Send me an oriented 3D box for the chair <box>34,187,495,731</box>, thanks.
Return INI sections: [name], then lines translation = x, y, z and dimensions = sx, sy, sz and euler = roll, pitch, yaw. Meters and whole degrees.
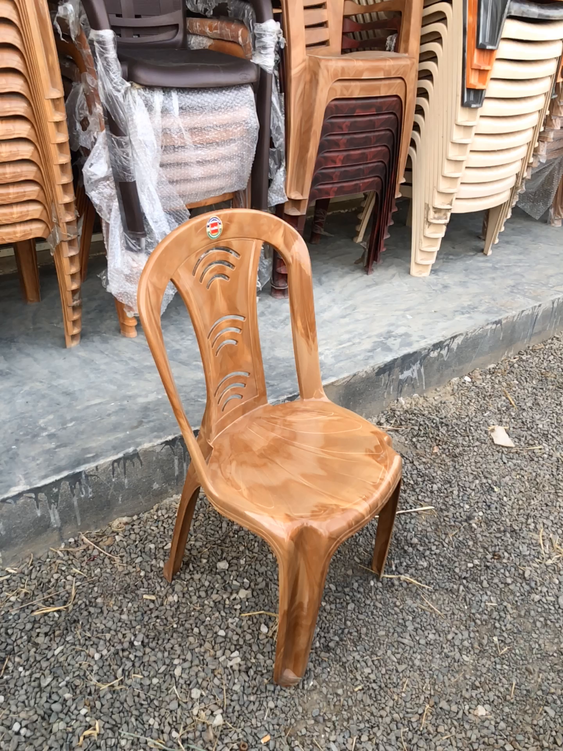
[chair]
translation = -0.034, 0.116, 1.260
dimensions = 0.580, 0.766, 0.543
euler = 24, 37, 28
